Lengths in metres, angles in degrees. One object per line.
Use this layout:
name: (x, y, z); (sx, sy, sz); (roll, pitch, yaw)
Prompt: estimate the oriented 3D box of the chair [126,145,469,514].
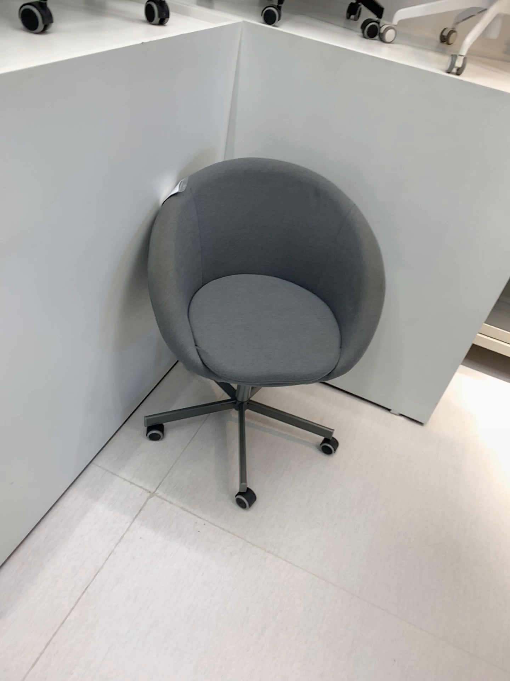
chair: (0.006, -0.017, 1.601); (0.730, 0.826, 0.713); (3, 40, -11)
